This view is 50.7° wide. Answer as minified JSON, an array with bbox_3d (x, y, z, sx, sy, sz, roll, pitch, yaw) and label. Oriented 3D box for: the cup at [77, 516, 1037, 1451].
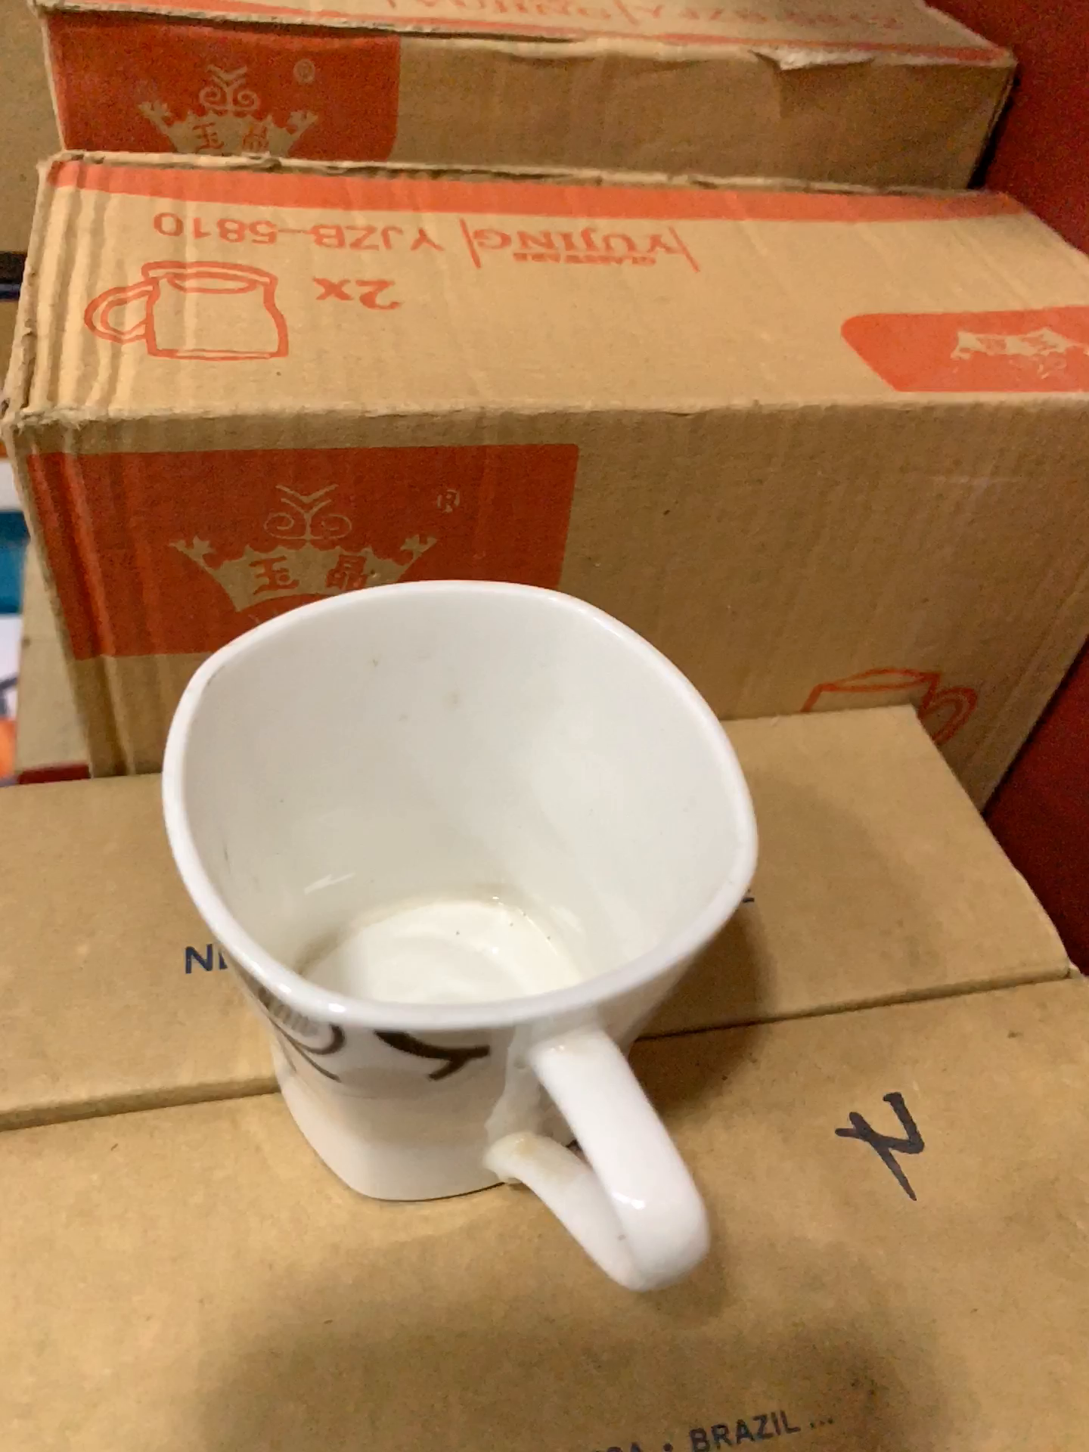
[{"bbox_3d":[-0.008,0.031,0.136,0.060,0.059,0.091,-18,50,-24],"label":"cup"}]
